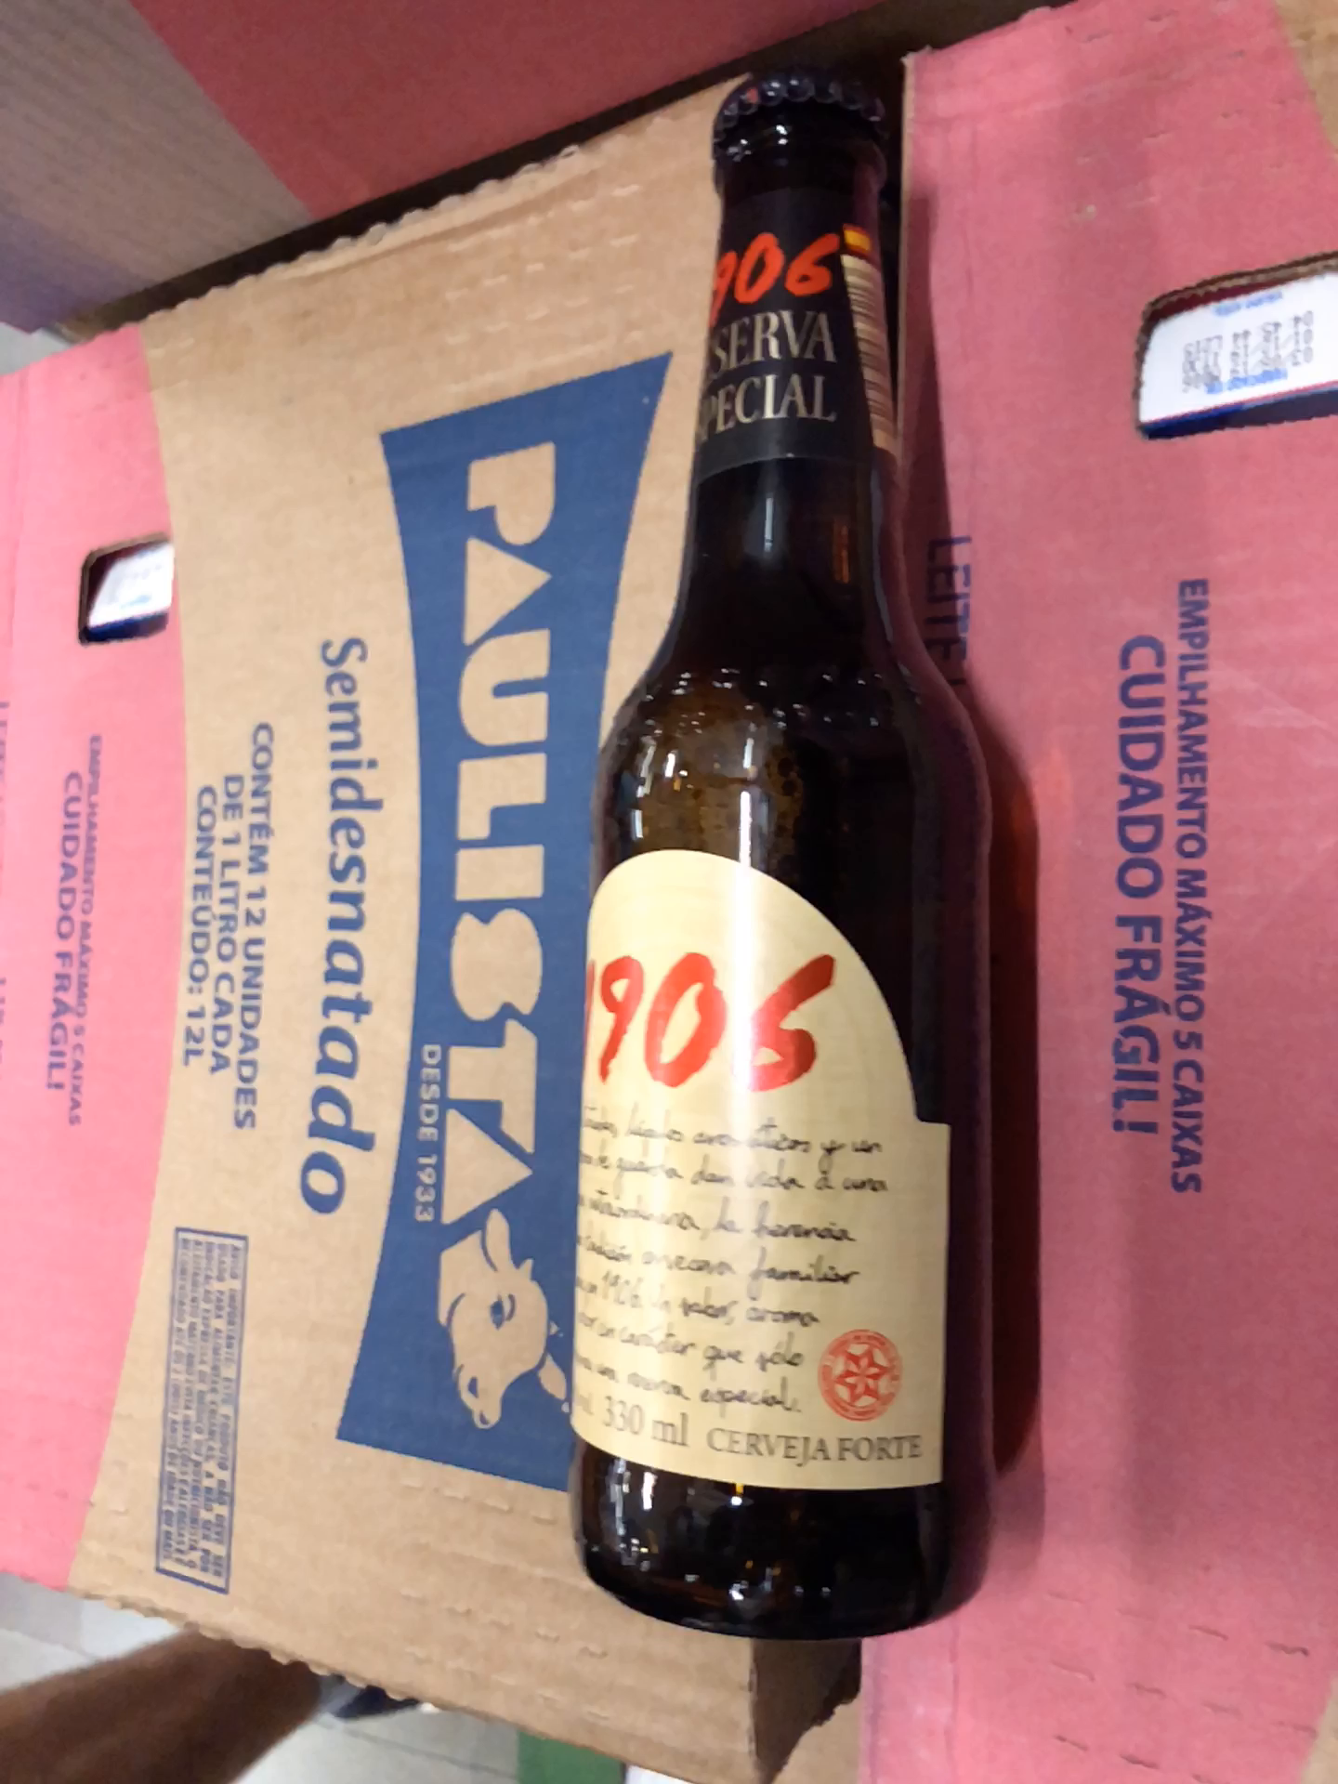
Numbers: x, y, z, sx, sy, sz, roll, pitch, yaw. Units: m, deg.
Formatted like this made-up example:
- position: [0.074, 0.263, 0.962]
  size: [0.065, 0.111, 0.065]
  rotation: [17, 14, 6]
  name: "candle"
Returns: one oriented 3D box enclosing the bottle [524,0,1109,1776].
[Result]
- position: [0.027, -0.022, 0.240]
  size: [0.070, 0.060, 0.270]
  rotation: [-2, 85, 31]
  name: "bottle"
